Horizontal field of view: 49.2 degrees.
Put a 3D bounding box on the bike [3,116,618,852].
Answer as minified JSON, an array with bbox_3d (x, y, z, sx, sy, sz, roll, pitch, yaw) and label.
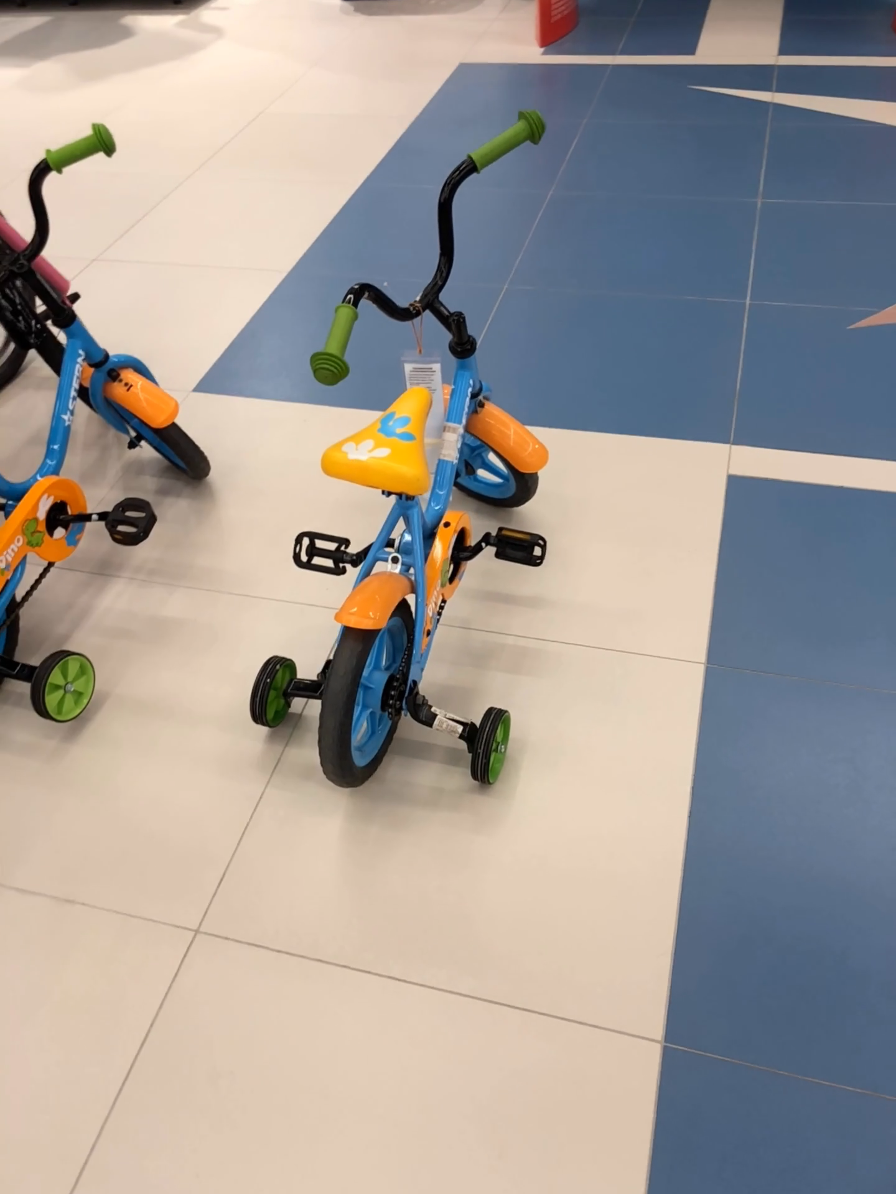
[{"bbox_3d":[-0.087,-0.189,1.371,0.564,0.681,0.754,1,43,7],"label":"bike"}]
